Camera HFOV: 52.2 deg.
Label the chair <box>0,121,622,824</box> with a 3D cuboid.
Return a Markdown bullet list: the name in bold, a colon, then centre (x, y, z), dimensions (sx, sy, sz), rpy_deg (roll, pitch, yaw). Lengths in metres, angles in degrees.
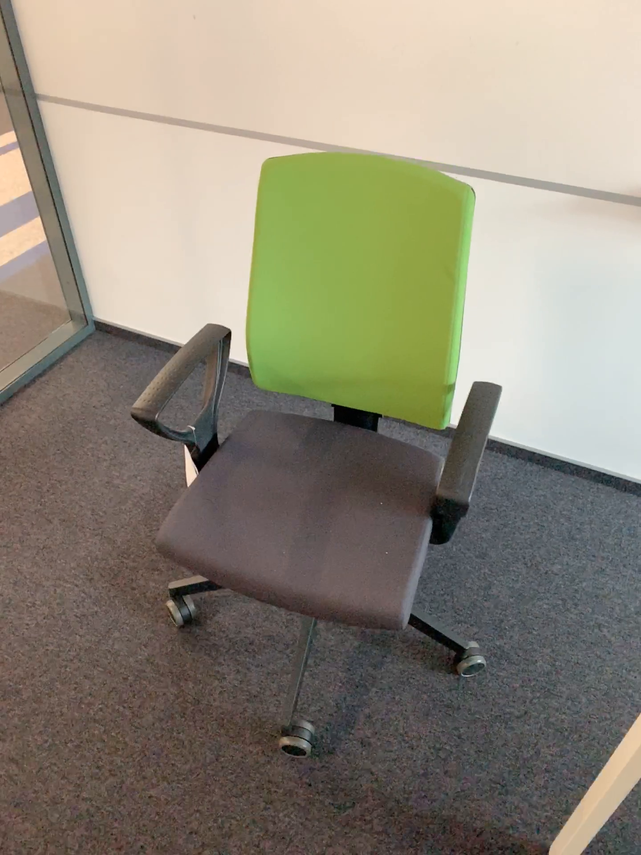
- **chair**: centre (0.028, 0.072, 1.264), dimensions (0.760, 0.965, 0.734), rpy_deg (13, 44, 14)
